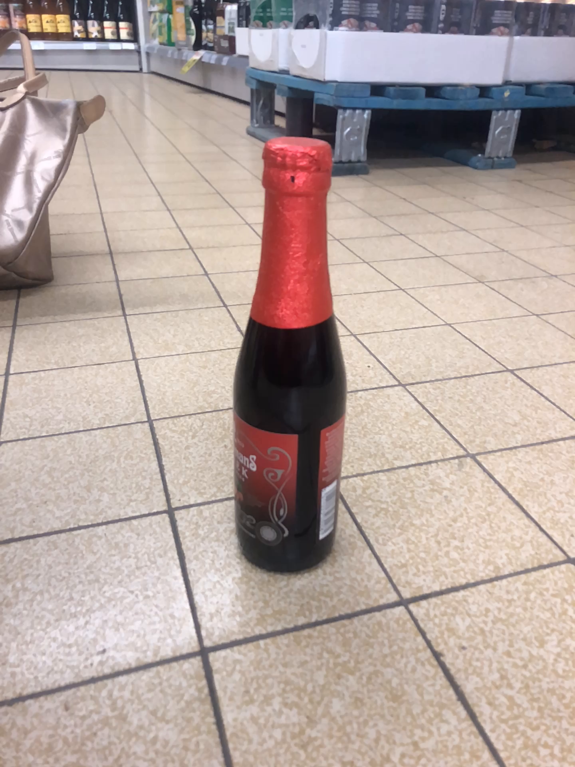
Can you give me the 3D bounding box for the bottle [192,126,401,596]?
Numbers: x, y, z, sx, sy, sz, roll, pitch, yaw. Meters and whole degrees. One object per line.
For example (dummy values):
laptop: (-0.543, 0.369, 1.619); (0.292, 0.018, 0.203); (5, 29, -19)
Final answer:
bottle: (-0.001, -0.006, 0.287); (0.060, 0.199, 0.060); (1, 28, -1)
